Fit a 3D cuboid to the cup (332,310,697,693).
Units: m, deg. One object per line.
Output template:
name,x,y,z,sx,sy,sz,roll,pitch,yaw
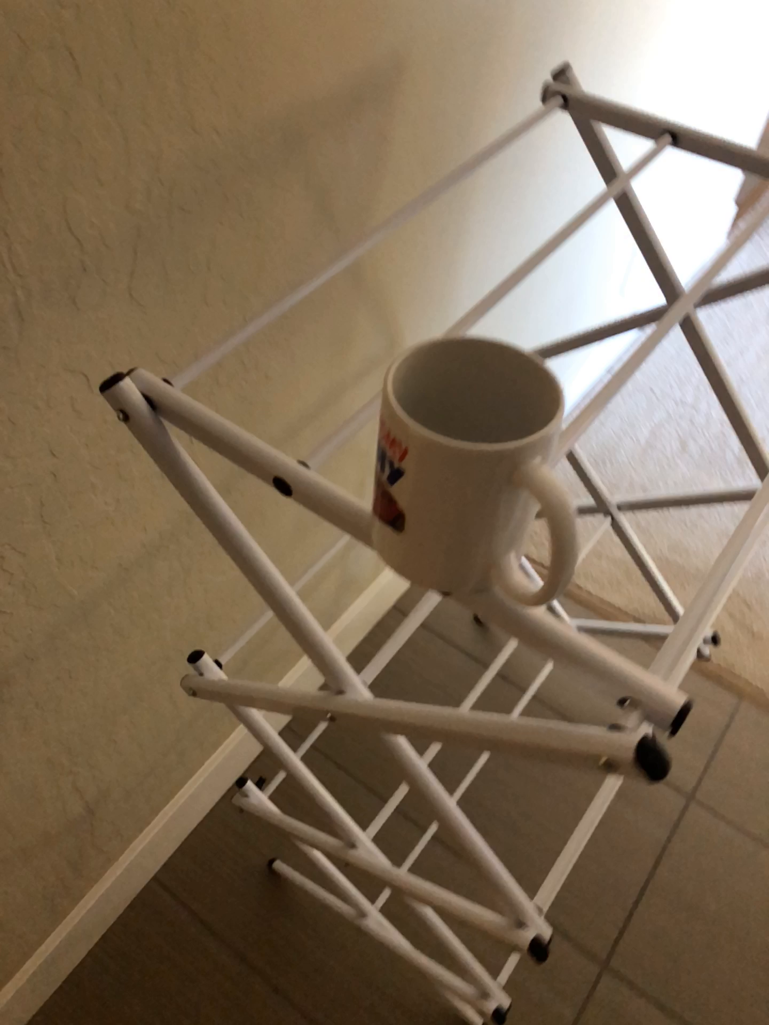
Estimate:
cup,0.048,-0.010,0.386,0.090,0.090,0.130,-22,50,-24
